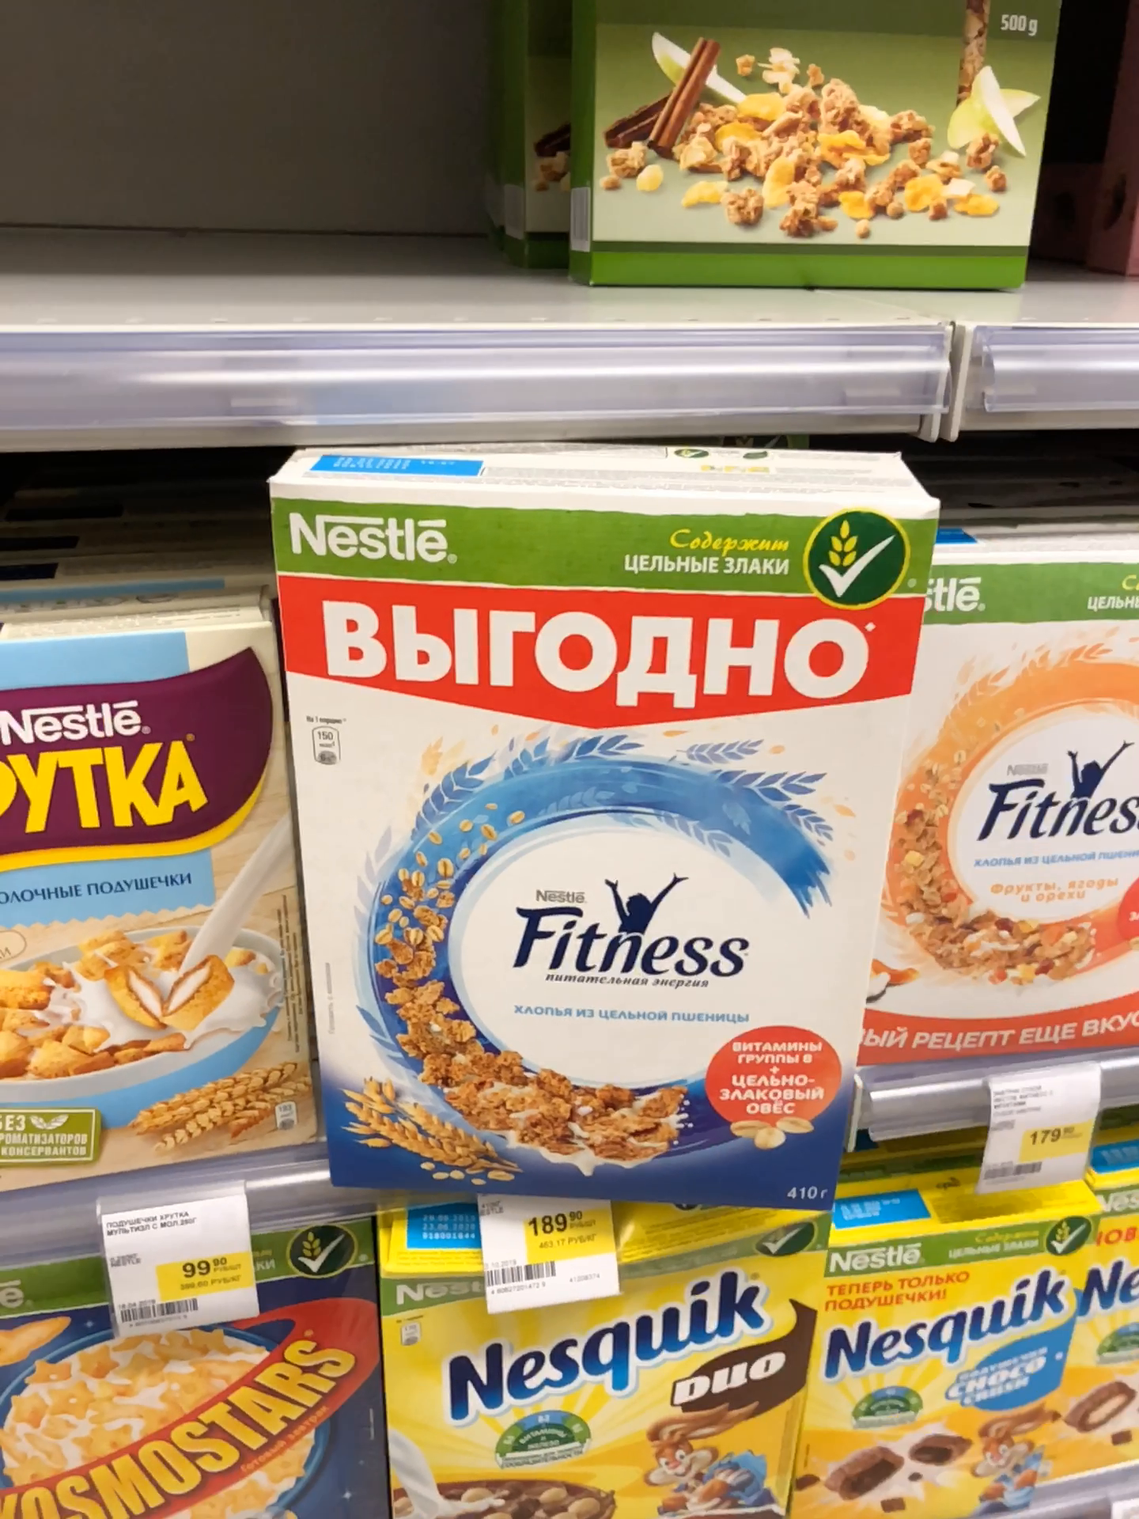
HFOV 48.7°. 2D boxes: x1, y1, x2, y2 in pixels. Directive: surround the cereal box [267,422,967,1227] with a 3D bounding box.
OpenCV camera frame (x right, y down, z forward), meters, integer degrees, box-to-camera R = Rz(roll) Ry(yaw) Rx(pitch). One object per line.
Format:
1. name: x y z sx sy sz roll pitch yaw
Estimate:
1. cereal box: 0.011 0.035 0.452 0.200 0.288 0.060 2 27 2
